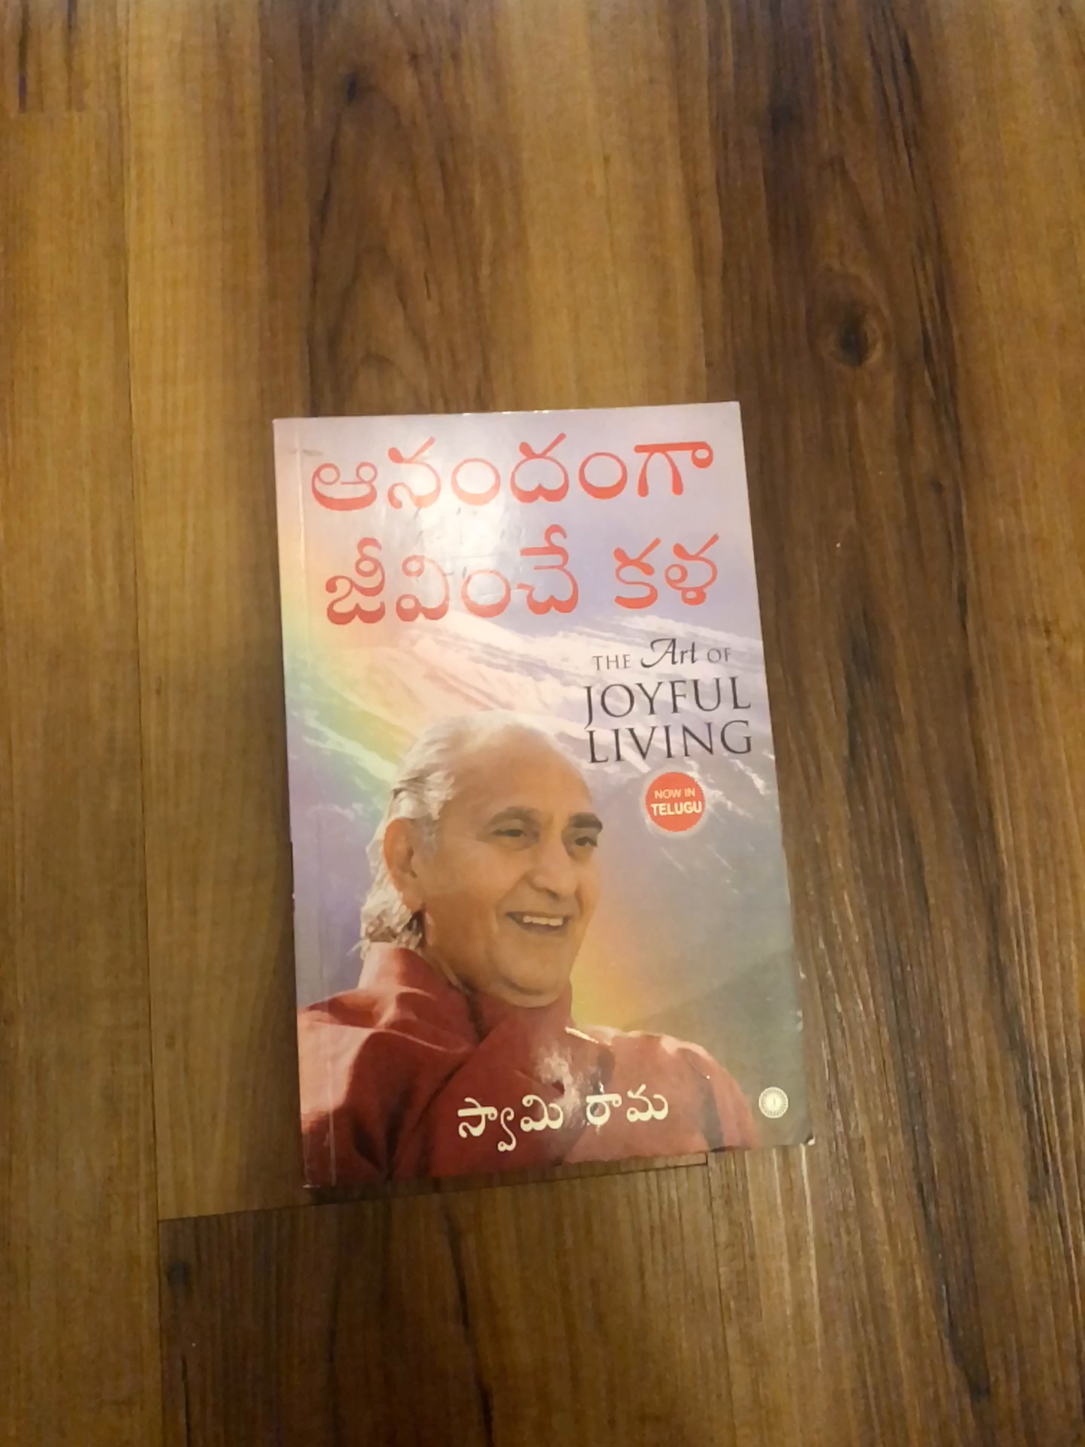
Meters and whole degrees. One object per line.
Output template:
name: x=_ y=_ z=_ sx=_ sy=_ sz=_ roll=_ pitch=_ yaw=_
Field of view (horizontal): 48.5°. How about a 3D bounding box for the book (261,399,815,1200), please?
book: x=-0.004 y=0.017 z=0.351 sx=0.144 sy=0.020 sz=0.219 roll=-3 pitch=82 yaw=-3
